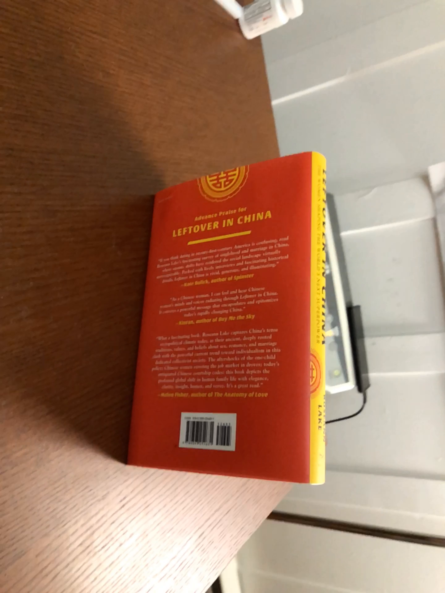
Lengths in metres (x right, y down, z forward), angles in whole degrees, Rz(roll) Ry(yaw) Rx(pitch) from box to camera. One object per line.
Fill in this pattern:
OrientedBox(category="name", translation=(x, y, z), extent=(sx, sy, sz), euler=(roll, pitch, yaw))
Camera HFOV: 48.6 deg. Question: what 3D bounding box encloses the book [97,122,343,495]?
OrientedBox(category="book", translation=(0.000, 0.011, 0.404), extent=(0.060, 0.179, 0.260), euler=(26, 63, -53))
